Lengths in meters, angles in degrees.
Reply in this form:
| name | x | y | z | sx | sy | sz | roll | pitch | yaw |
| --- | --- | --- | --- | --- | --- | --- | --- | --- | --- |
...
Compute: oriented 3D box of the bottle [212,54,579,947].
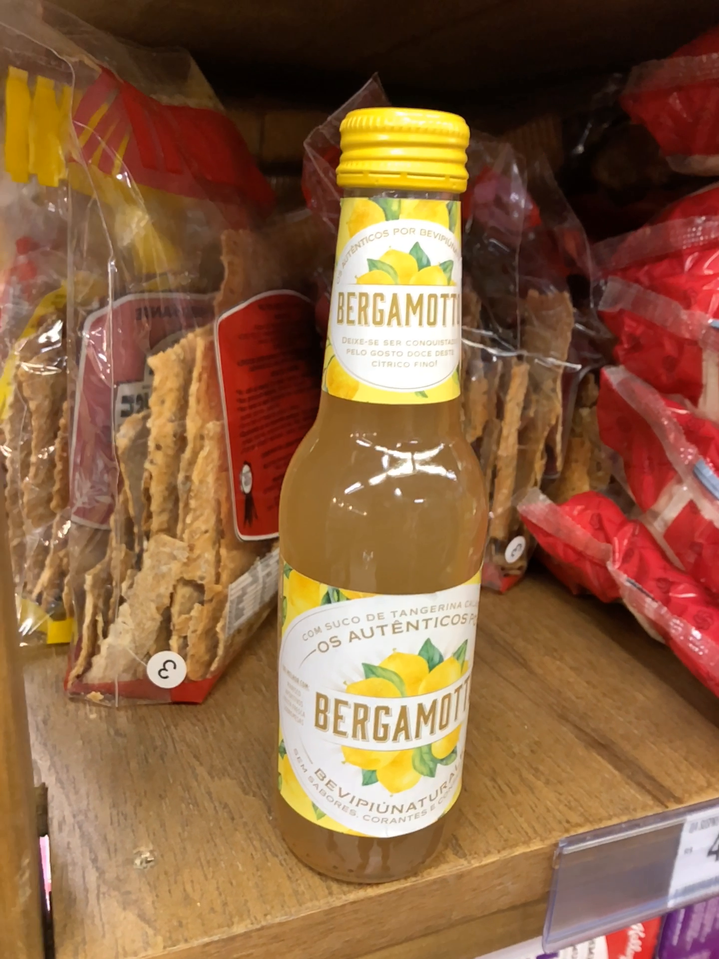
| name | x | y | z | sx | sy | sz | roll | pitch | yaw |
| --- | --- | --- | --- | --- | --- | --- | --- | --- | --- |
| bottle | 0.000 | 0.009 | 0.209 | 0.060 | 0.199 | 0.060 | 3 | 17 | -1 |
